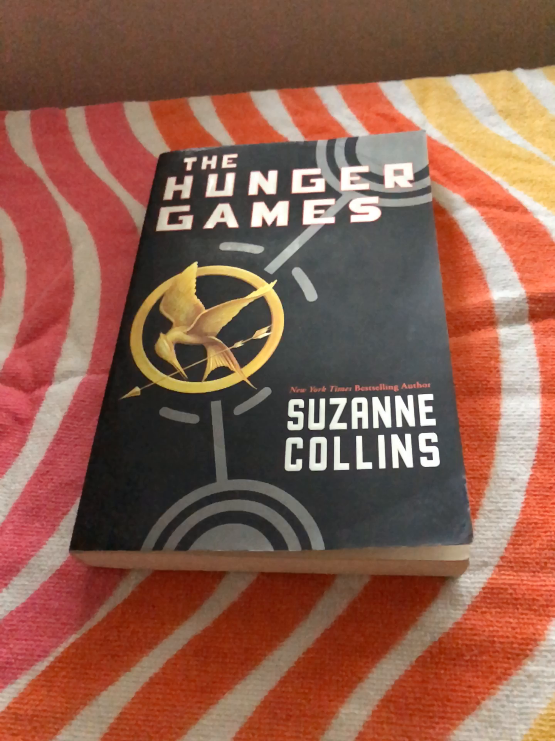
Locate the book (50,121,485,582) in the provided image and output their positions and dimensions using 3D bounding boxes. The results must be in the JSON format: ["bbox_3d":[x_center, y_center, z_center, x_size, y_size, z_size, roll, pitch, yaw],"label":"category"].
[{"bbox_3d":[0.002,-0.021,0.262,0.138,0.037,0.201,-1,58,8],"label":"book"}]
